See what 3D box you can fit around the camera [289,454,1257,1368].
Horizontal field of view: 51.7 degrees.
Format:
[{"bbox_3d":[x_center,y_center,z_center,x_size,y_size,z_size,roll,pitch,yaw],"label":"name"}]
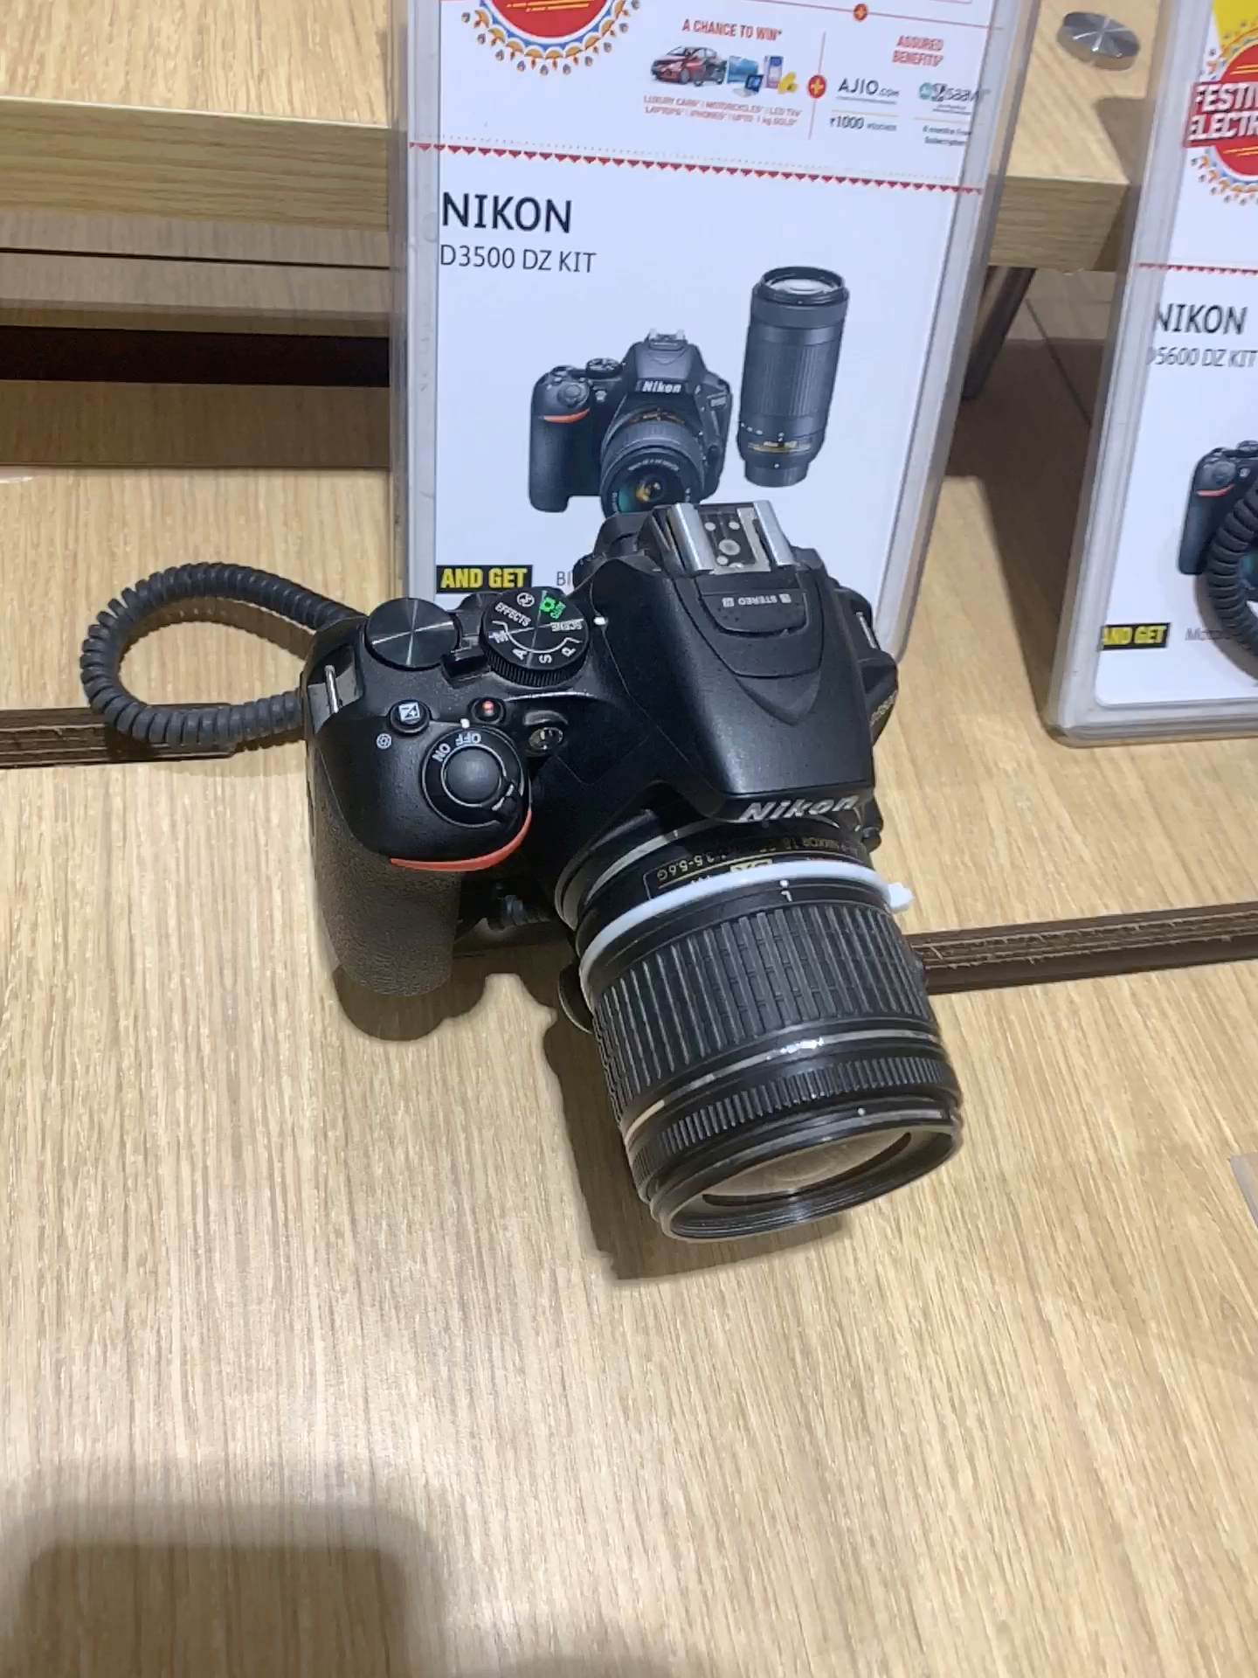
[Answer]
[{"bbox_3d":[0.012,0.011,0.235,0.130,0.100,0.120,-5,60,-15],"label":"camera"}]
